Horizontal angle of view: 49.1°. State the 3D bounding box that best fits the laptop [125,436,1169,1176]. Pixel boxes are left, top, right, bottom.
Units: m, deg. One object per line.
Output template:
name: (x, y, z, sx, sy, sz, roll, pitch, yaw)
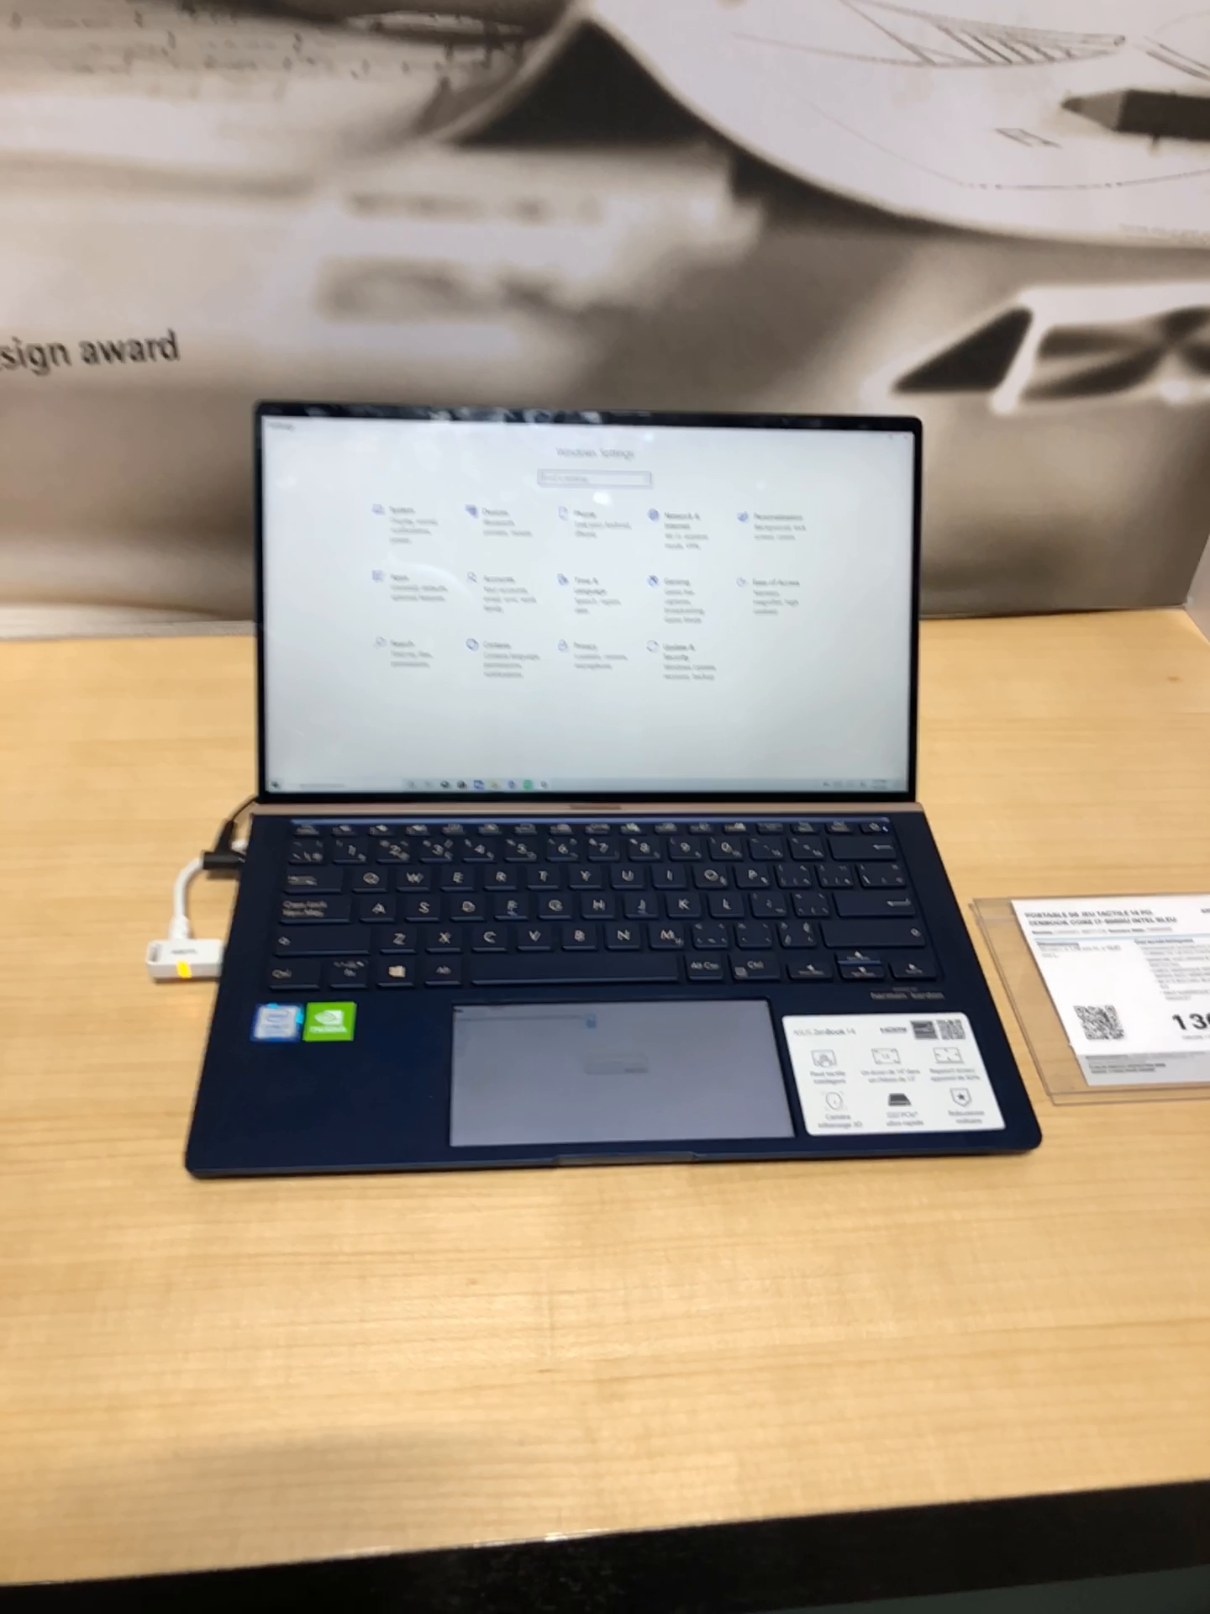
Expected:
laptop: (0.009, -0.026, 0.595, 0.332, 0.159, 0.322, -1, 39, -4)
